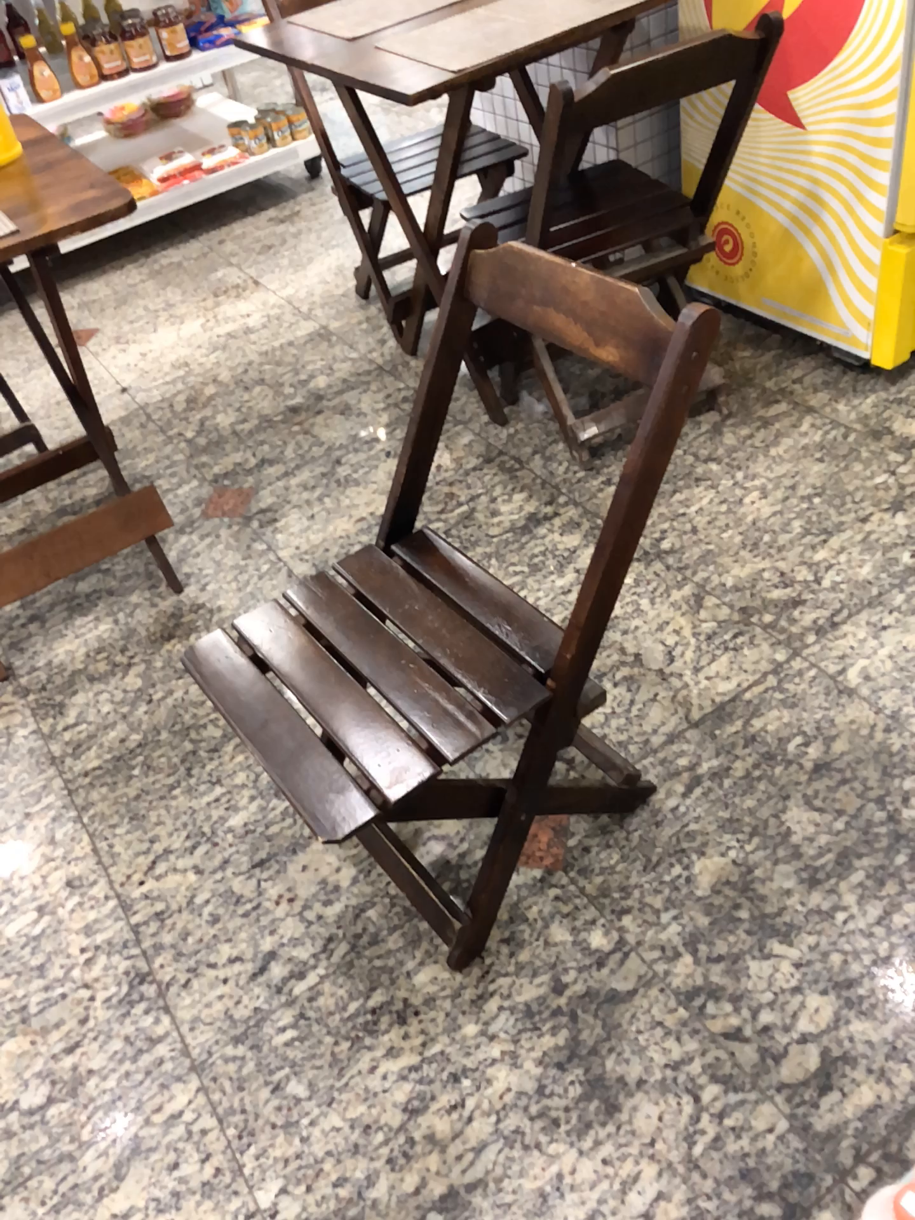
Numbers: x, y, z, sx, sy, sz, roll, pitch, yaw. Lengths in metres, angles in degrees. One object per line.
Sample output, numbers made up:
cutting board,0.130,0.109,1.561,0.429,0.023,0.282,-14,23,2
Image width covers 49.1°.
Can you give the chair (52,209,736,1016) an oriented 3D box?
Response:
chair,-0.021,0.000,1.241,0.551,0.705,0.442,-32,45,-20
